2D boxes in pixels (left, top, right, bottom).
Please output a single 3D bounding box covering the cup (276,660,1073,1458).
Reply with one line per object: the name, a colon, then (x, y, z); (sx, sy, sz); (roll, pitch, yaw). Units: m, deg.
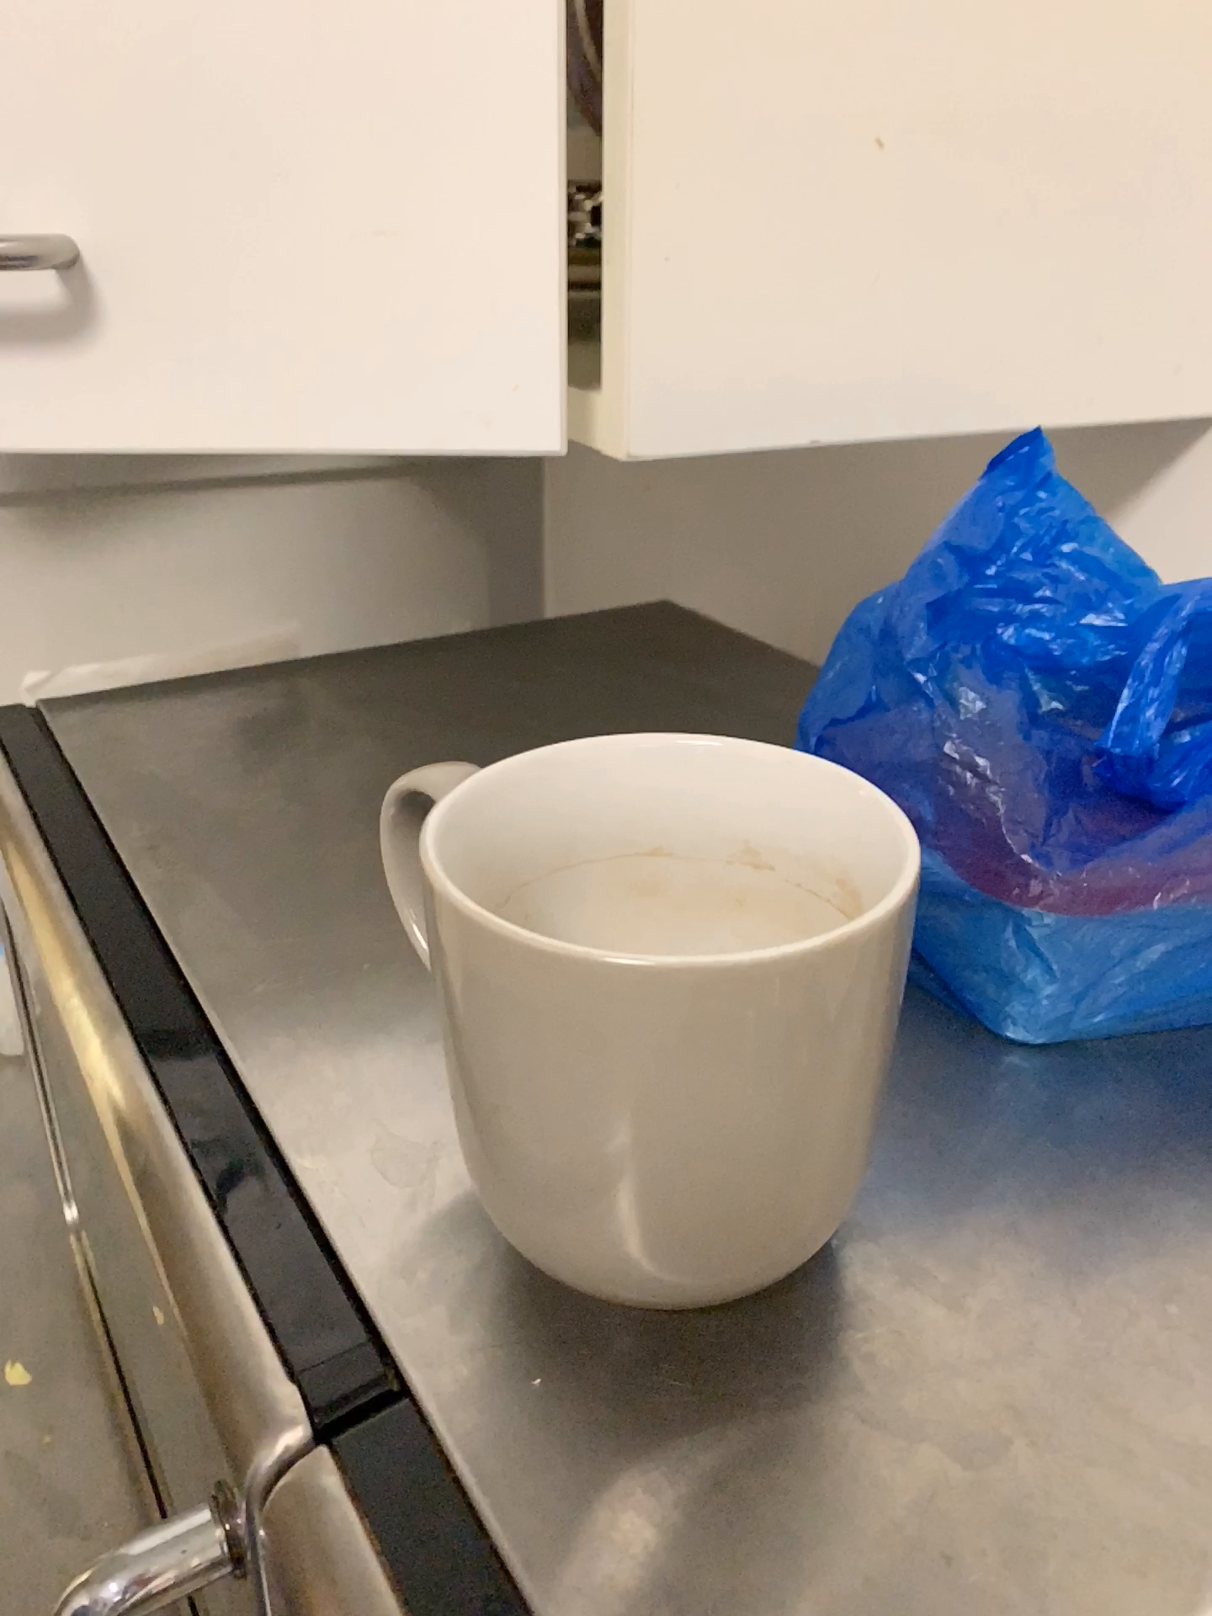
cup: (0.005, 0.032, 0.252); (0.094, 0.077, 0.130); (-15, 28, -28)
